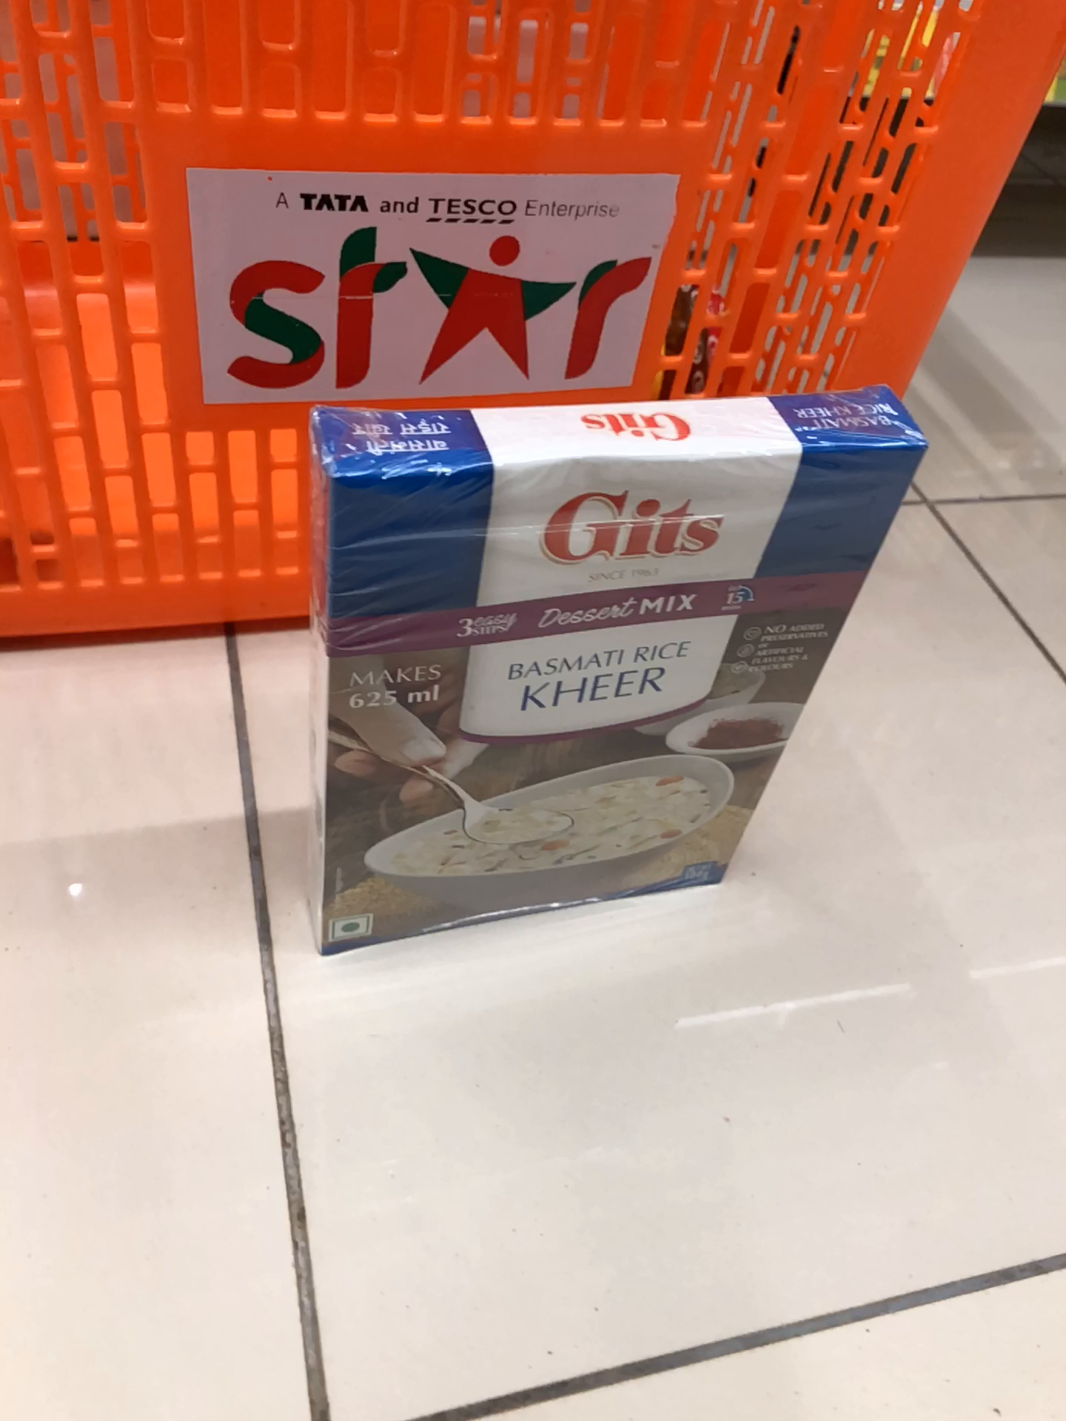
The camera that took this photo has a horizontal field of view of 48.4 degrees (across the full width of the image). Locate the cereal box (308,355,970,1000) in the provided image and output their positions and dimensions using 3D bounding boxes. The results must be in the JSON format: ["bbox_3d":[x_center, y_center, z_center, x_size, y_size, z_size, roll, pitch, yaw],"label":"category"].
[{"bbox_3d":[0.012,0.000,0.273,0.120,0.159,0.030,-7,47,-16],"label":"cereal box"}]
